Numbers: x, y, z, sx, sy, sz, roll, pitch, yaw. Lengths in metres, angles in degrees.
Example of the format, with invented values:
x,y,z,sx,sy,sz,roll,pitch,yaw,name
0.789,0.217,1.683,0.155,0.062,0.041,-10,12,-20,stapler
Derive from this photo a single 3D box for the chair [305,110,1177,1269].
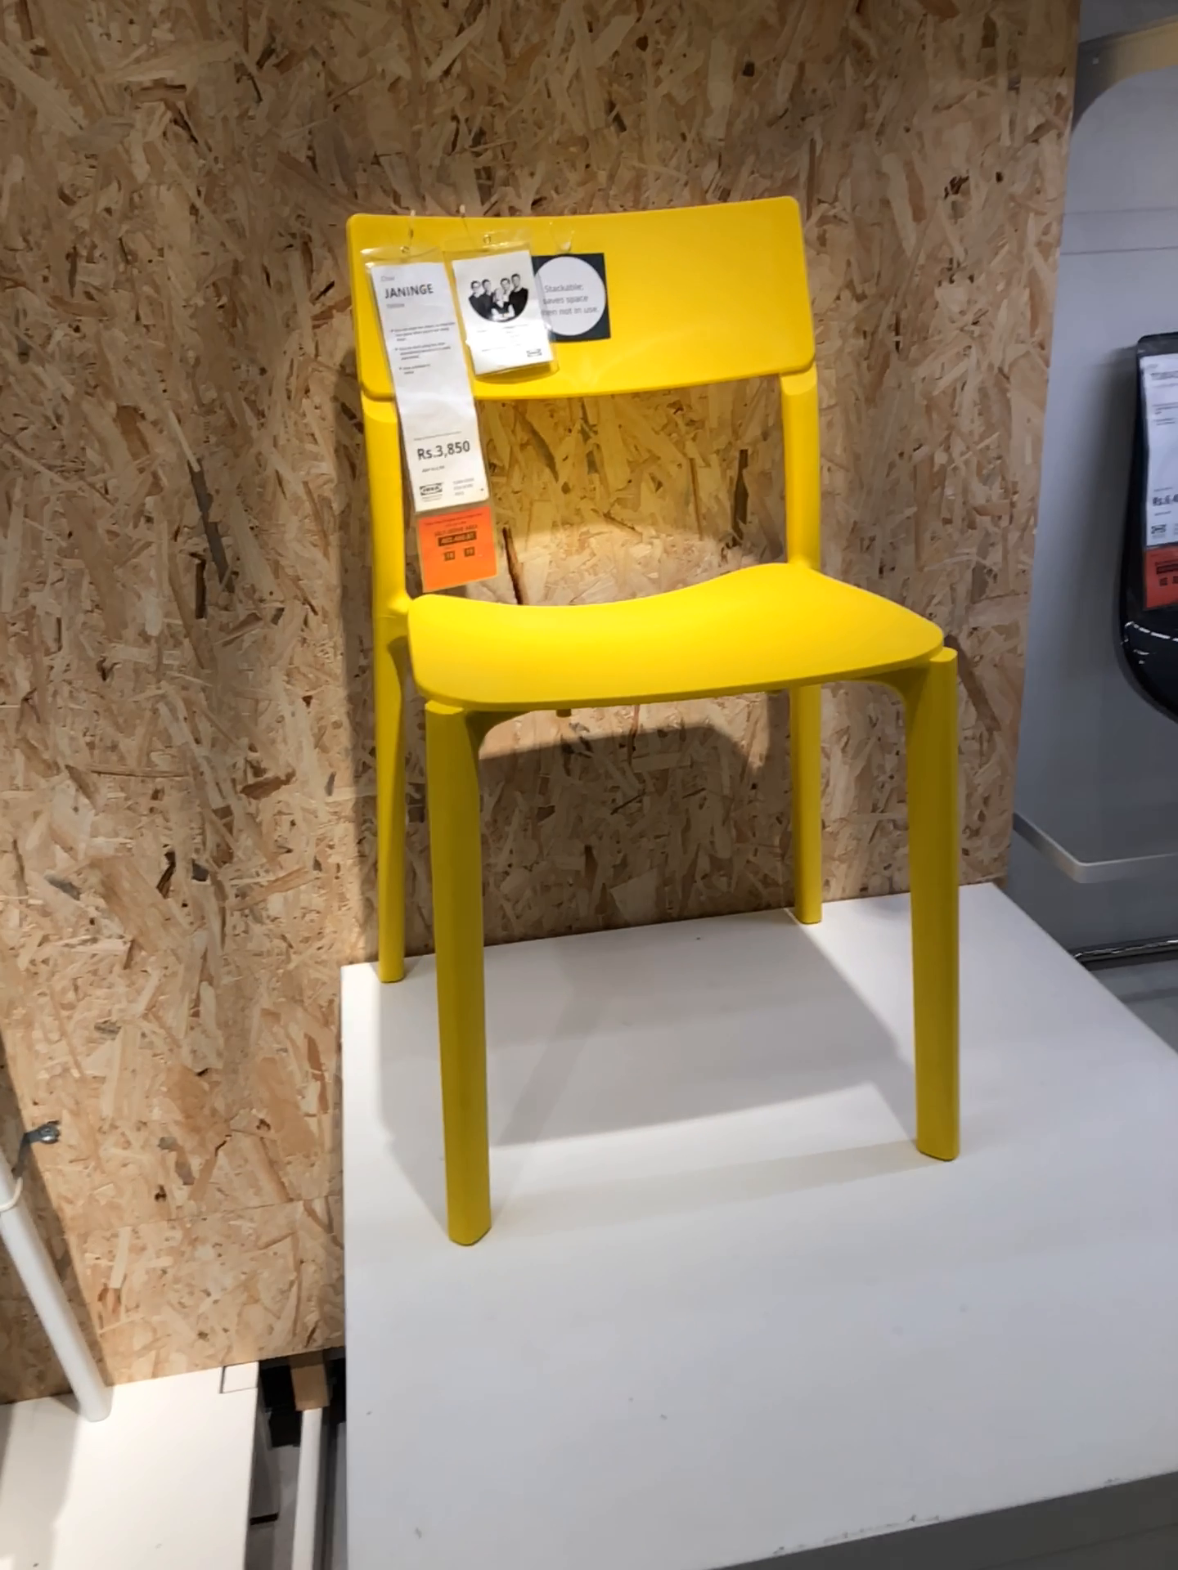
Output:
x,y,z,sx,sy,sz,roll,pitch,yaw,name
0.060,-0.104,0.987,0.460,0.676,0.463,-7,22,-10,chair
